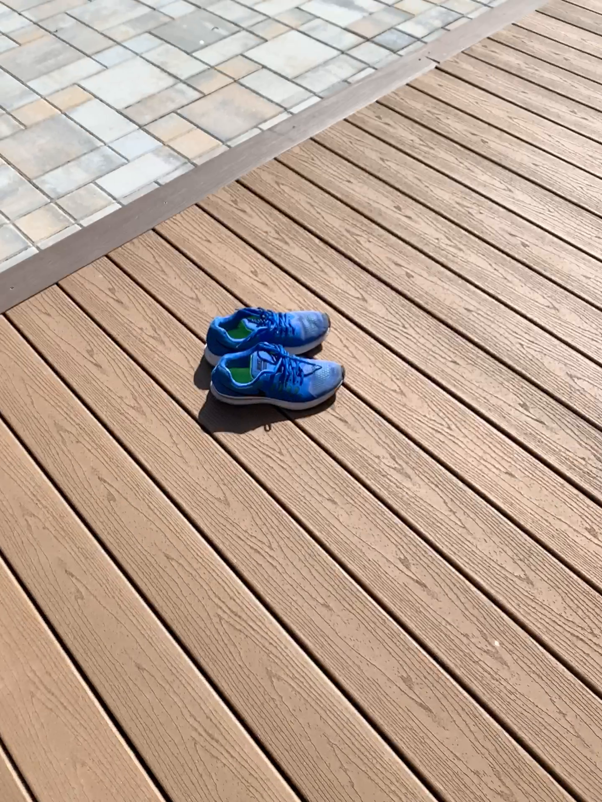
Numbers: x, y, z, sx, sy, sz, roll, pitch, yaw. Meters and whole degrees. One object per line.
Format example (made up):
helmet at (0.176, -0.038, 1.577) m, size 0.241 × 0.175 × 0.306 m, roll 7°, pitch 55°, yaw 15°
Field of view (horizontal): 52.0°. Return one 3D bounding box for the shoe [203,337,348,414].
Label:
shoe at (-0.049, -0.053, 1.313) m, size 0.290 × 0.105 × 0.120 m, roll -1°, pitch 54°, yaw 1°

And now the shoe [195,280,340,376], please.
shoe at (-0.074, -0.165, 1.387) m, size 0.297 × 0.103 × 0.120 m, roll -13°, pitch 55°, yaw -7°
